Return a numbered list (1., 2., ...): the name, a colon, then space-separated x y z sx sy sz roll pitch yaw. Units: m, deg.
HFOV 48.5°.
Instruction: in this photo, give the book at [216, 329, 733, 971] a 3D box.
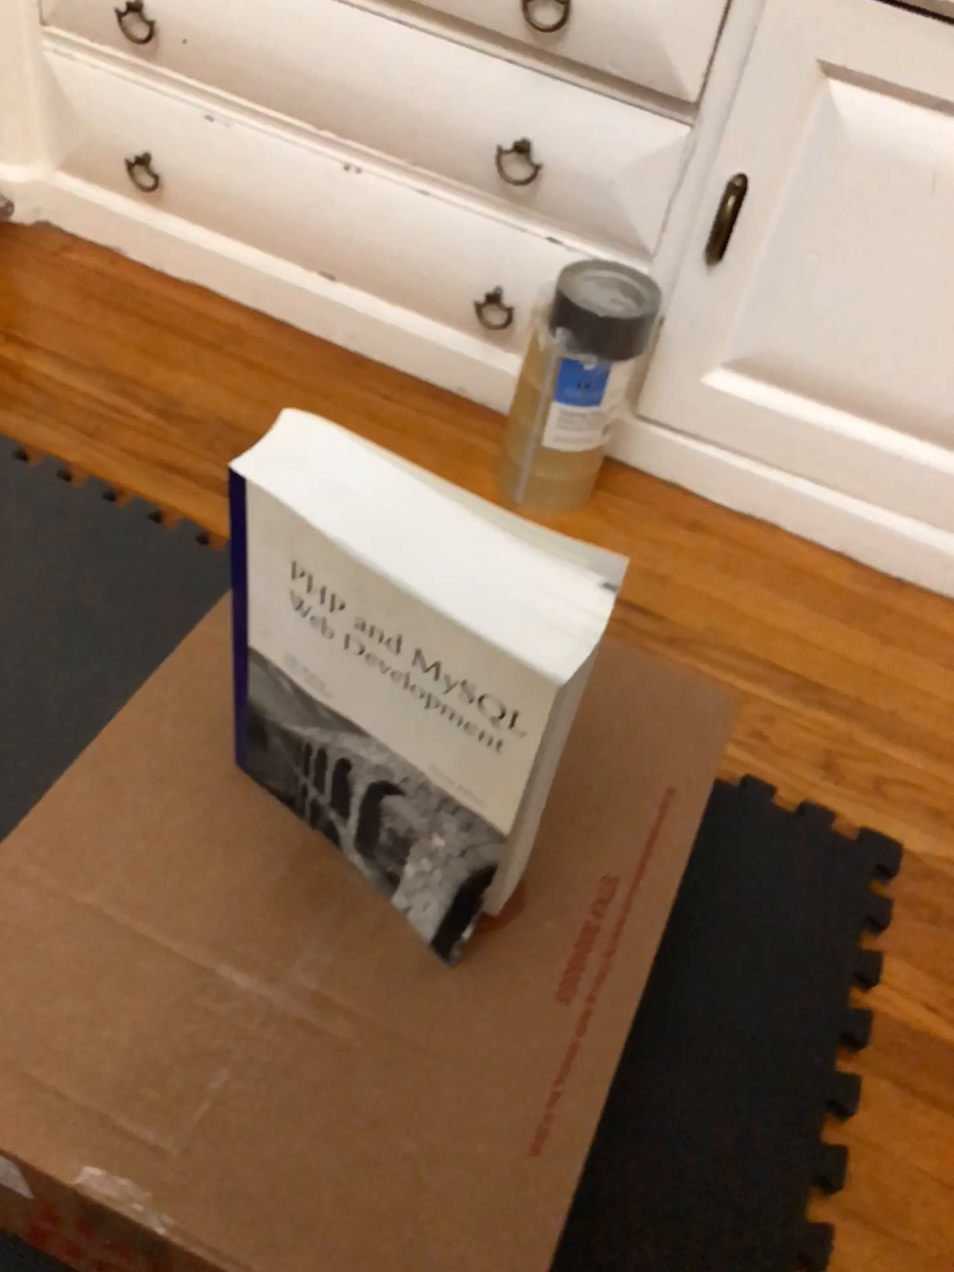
1. book: -0.019 0.019 0.532 0.200 0.259 0.090 33 52 18
